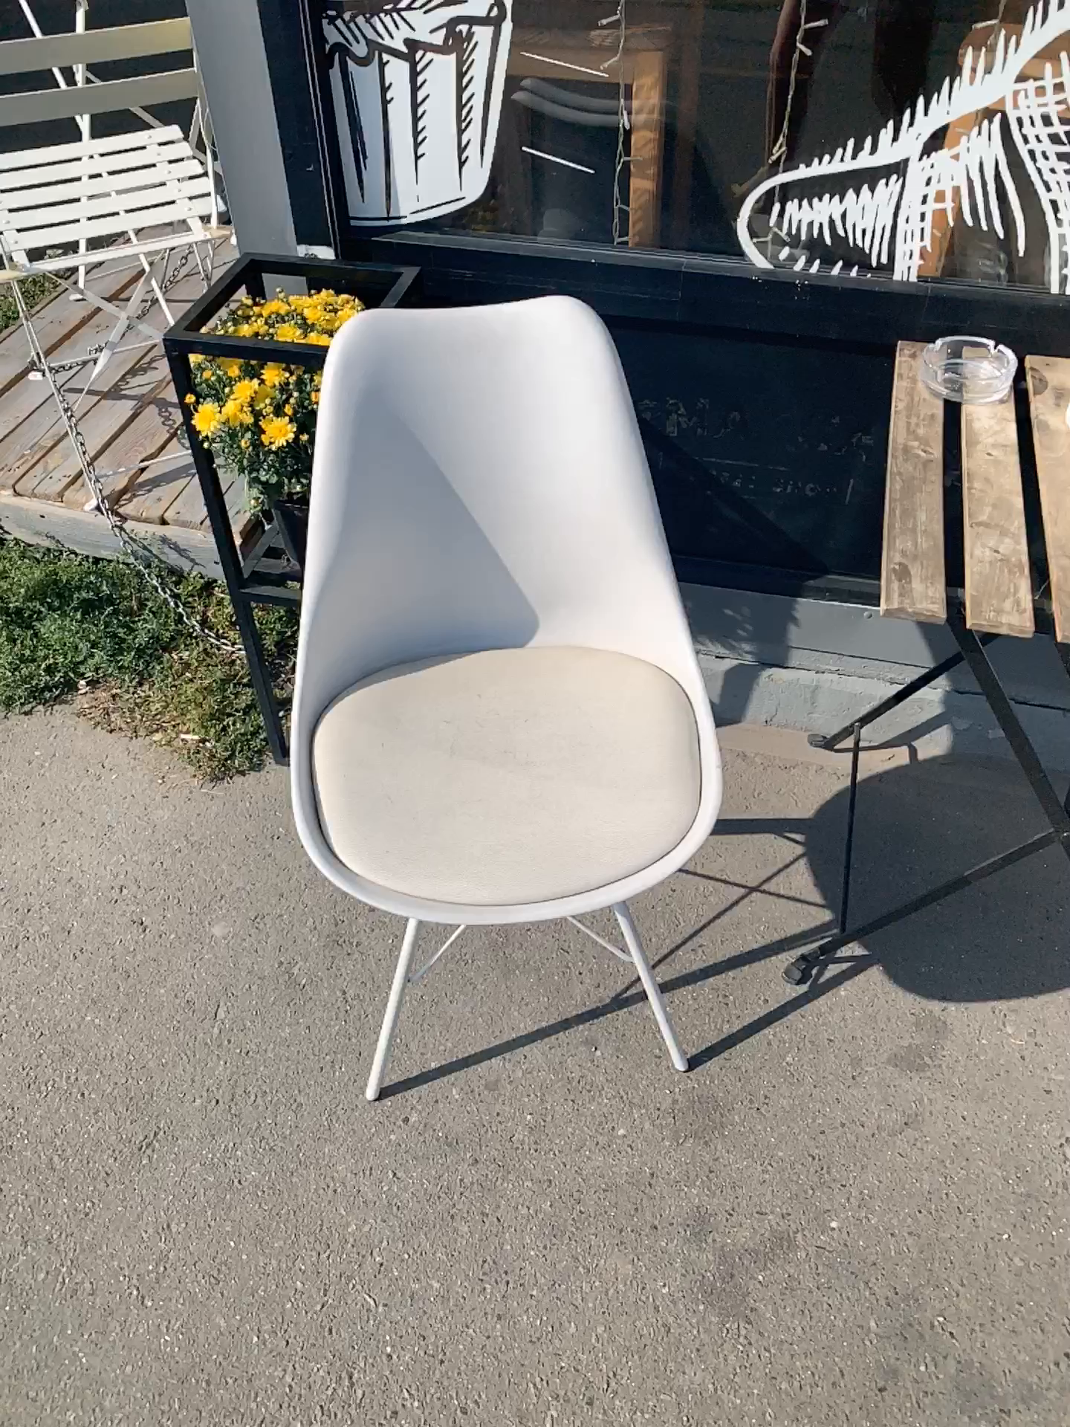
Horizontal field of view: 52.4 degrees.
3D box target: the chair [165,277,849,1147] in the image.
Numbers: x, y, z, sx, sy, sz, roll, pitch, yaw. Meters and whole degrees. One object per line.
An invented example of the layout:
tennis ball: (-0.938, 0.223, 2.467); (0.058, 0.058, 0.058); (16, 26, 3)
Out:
chair: (-0.046, 0.027, 1.219); (0.480, 0.777, 0.532); (-7, 46, -5)
